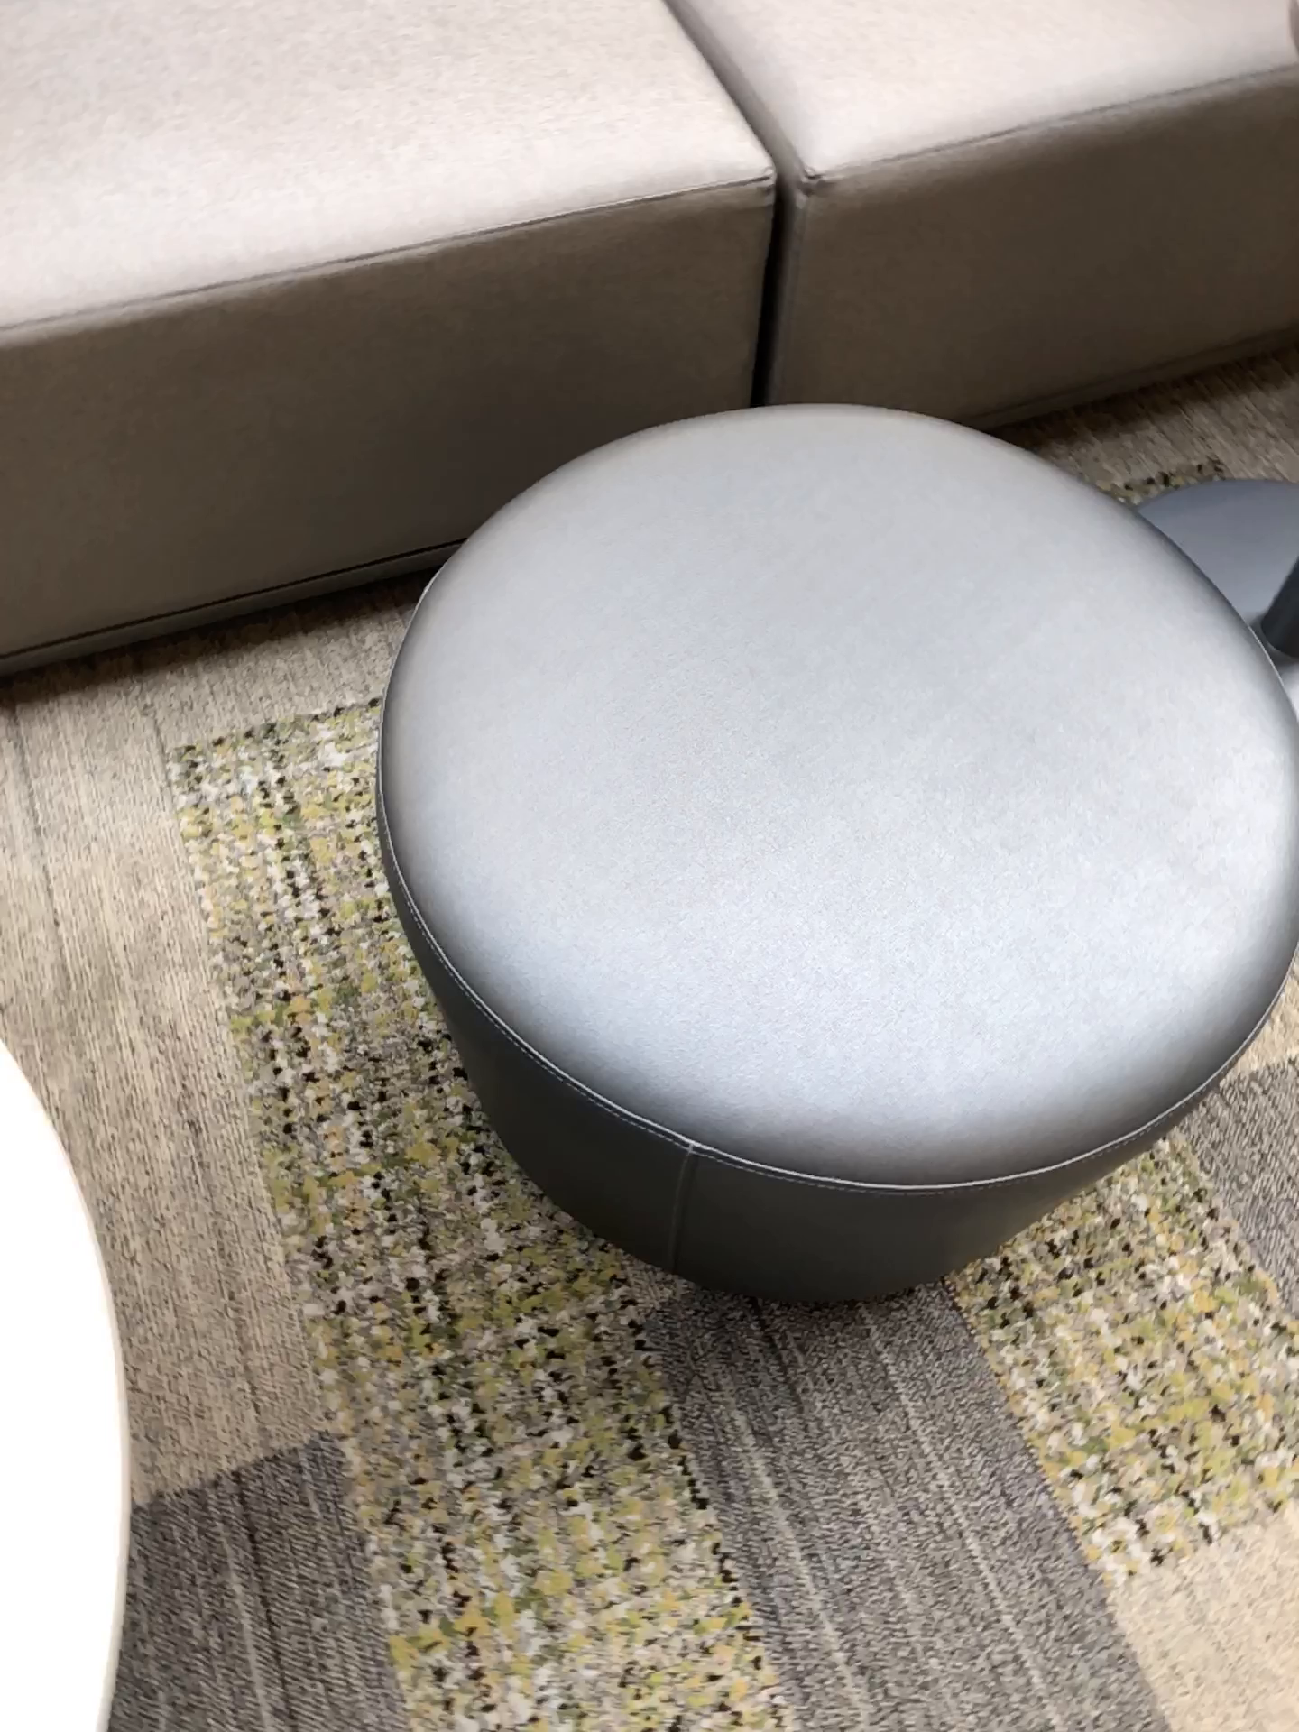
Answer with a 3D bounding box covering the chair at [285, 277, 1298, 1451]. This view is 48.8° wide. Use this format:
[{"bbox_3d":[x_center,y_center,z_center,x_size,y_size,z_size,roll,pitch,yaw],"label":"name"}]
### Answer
[{"bbox_3d":[0.135,-0.003,1.040,0.620,0.459,0.571,-14,60,-11],"label":"chair"}]
